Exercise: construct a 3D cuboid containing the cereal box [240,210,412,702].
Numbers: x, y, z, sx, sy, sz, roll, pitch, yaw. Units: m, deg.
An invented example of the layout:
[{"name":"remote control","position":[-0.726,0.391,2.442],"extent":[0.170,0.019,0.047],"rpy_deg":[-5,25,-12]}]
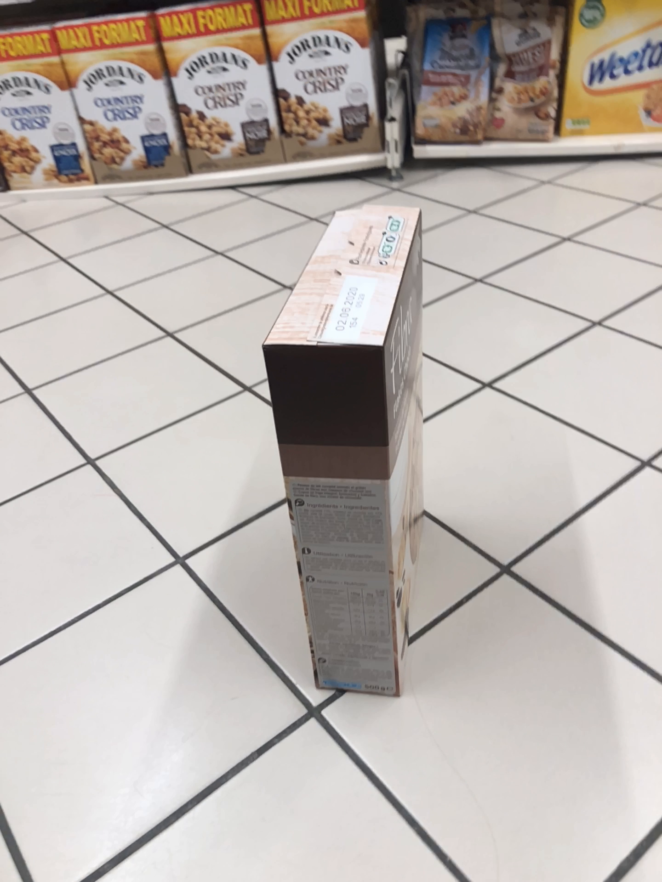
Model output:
[{"name":"cereal box","position":[0.015,0.010,0.516],"extent":[0.070,0.278,0.201],"rpy_deg":[2,36,10]}]
